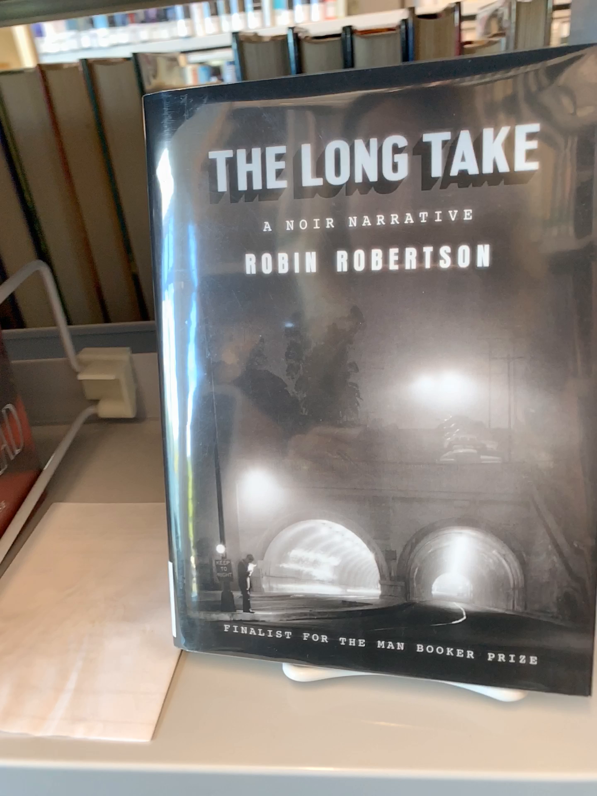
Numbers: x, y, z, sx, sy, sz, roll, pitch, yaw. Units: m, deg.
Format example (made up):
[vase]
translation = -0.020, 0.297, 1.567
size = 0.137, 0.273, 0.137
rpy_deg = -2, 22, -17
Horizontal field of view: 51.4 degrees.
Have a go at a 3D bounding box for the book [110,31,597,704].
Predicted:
[book]
translation = 0.021, -0.005, 0.227
size = 0.160, 0.206, 0.040
rpy_deg = 0, 9, 14
